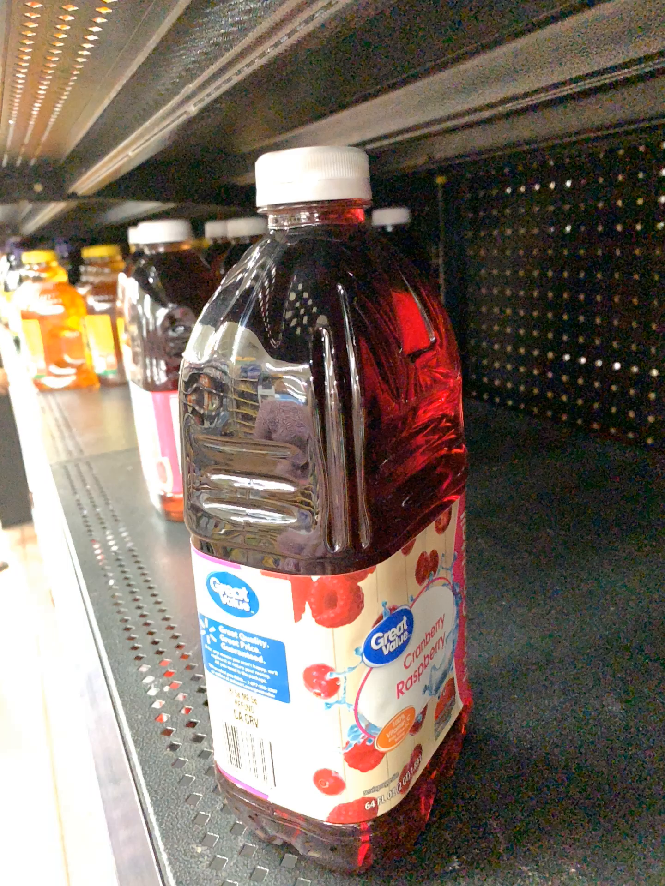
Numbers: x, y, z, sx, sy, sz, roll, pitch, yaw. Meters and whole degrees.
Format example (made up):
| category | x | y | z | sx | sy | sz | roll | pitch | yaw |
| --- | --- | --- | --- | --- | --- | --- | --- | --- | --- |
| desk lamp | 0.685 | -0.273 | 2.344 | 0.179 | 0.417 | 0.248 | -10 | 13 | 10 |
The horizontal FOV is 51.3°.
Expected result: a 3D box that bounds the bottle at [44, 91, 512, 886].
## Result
| category | x | y | z | sx | sy | sz | roll | pitch | yaw |
| --- | --- | --- | --- | --- | --- | --- | --- | --- | --- |
| bottle | 0.001 | 0.022 | 0.268 | 0.100 | 0.259 | 0.125 | 4 | 19 | 29 |
